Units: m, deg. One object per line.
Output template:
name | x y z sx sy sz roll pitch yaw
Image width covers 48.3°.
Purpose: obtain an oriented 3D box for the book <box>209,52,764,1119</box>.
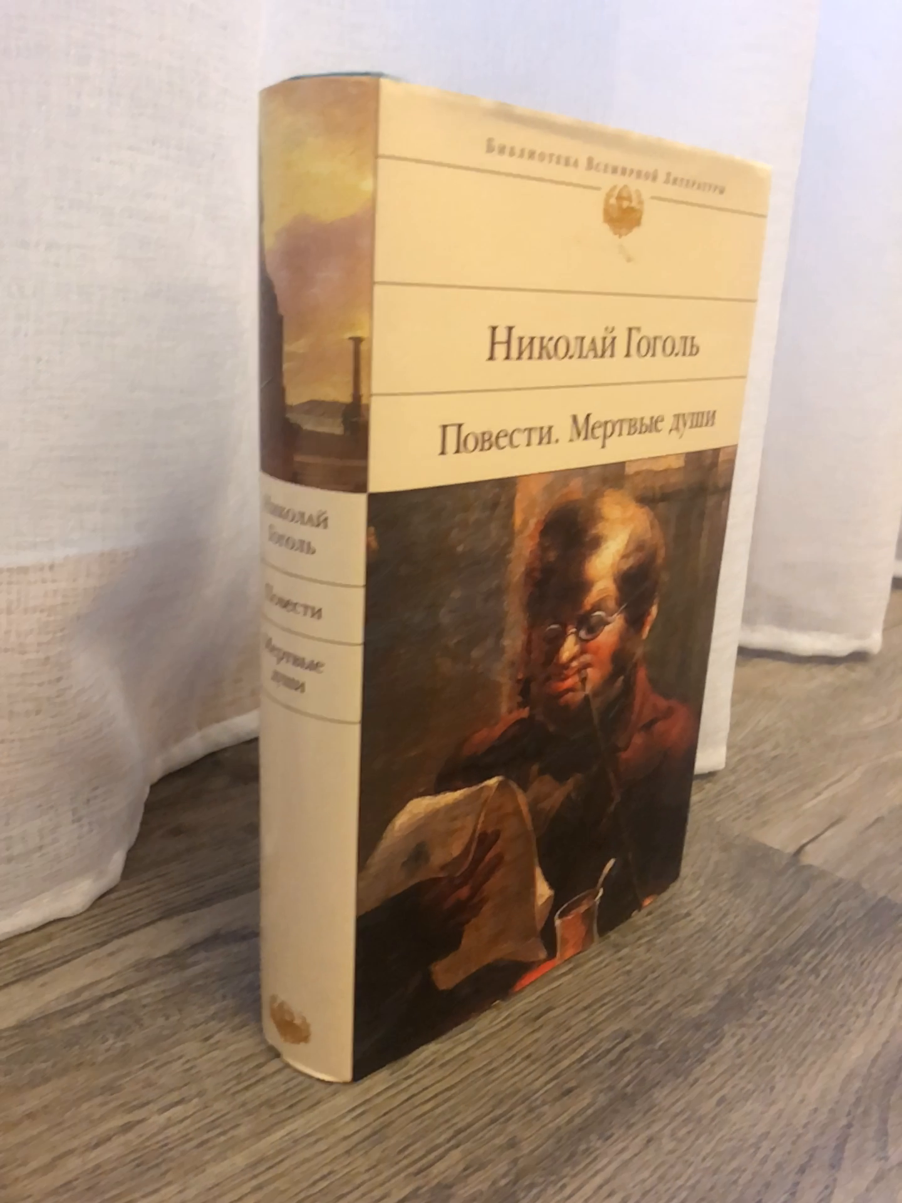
book | 0.011 -0.004 0.250 0.134 0.210 0.041 -13 23 -43
